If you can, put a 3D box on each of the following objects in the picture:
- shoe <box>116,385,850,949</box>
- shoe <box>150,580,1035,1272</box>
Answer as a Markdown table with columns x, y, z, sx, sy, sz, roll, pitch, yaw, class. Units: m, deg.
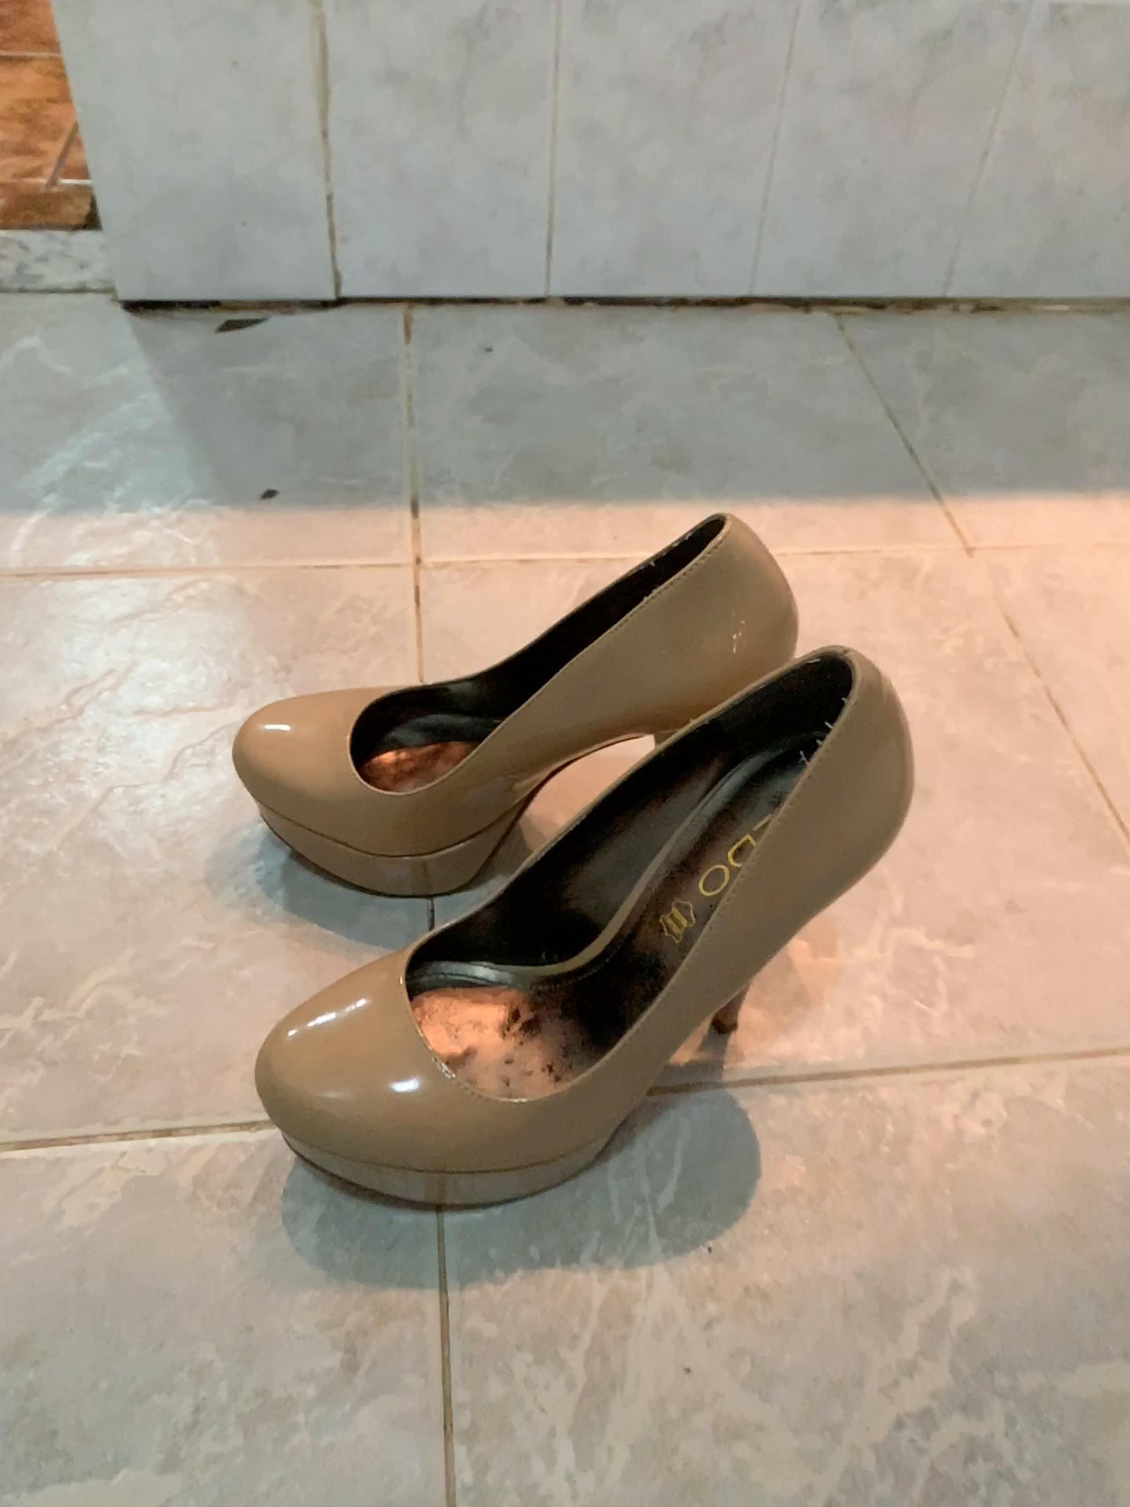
| x | y | z | sx | sy | sz | roll | pitch | yaw | class |
| --- | --- | --- | --- | --- | --- | --- | --- | --- | --- |
| -0.026 | -0.024 | 0.425 | 0.210 | 0.176 | 0.087 | 5 | 46 | 0 | shoe |
| 0.002 | 0.055 | 0.357 | 0.210 | 0.166 | 0.087 | -11 | 48 | -14 | shoe |
